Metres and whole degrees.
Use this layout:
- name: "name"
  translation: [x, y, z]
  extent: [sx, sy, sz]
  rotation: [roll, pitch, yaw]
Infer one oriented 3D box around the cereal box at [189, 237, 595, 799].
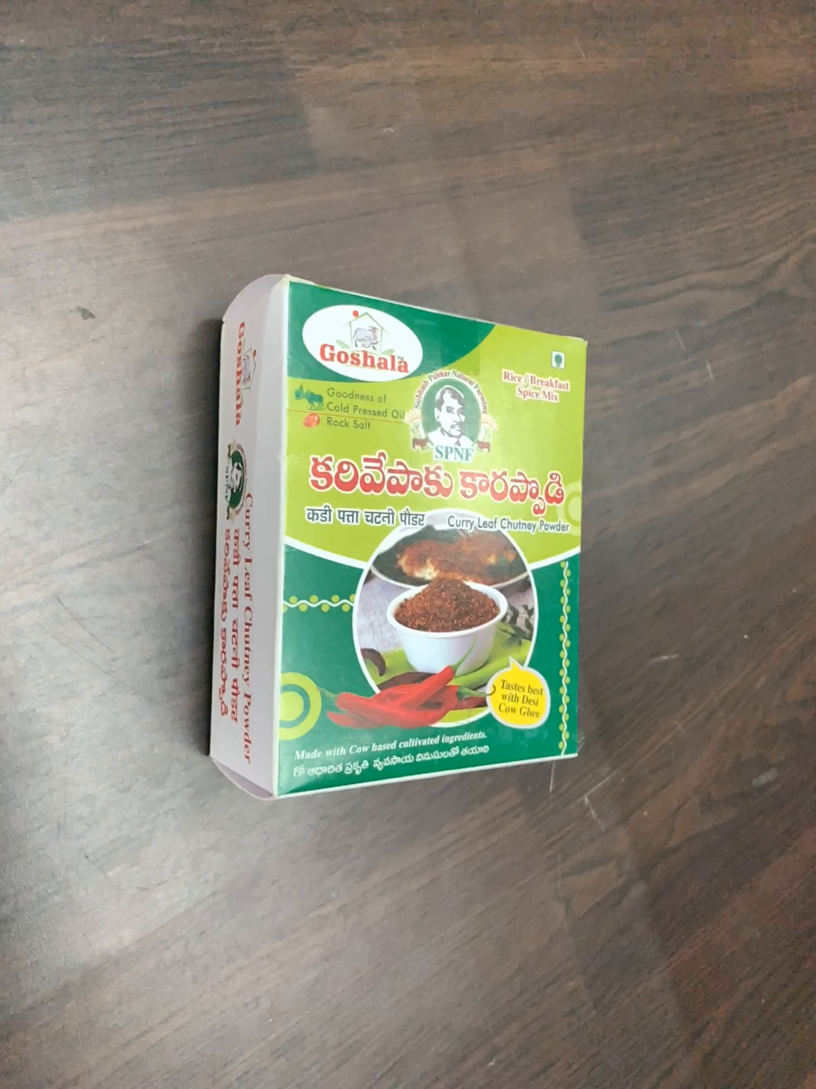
- name: "cereal box"
  translation: [-0.002, -0.005, 0.225]
  extent: [0.100, 0.040, 0.120]
  rotation: [1, 89, -31]
